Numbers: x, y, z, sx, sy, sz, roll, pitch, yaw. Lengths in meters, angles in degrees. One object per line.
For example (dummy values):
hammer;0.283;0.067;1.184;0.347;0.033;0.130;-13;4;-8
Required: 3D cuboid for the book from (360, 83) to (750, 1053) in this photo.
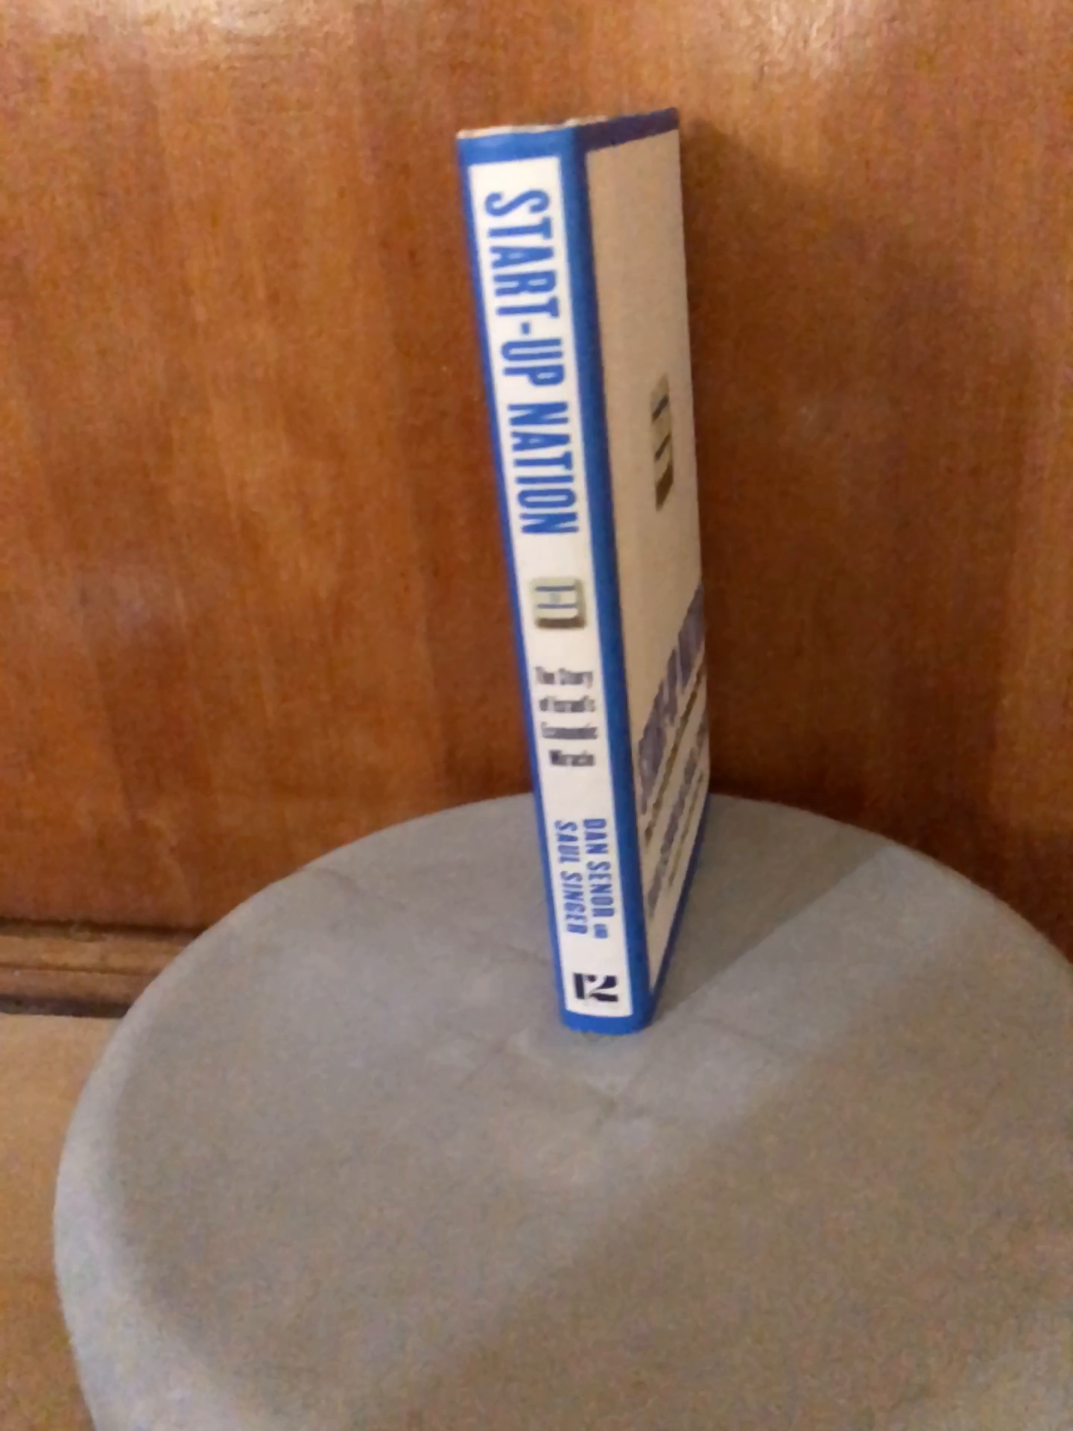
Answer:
book;0.026;-0.057;0.362;0.040;0.229;0.201;1;25;18
